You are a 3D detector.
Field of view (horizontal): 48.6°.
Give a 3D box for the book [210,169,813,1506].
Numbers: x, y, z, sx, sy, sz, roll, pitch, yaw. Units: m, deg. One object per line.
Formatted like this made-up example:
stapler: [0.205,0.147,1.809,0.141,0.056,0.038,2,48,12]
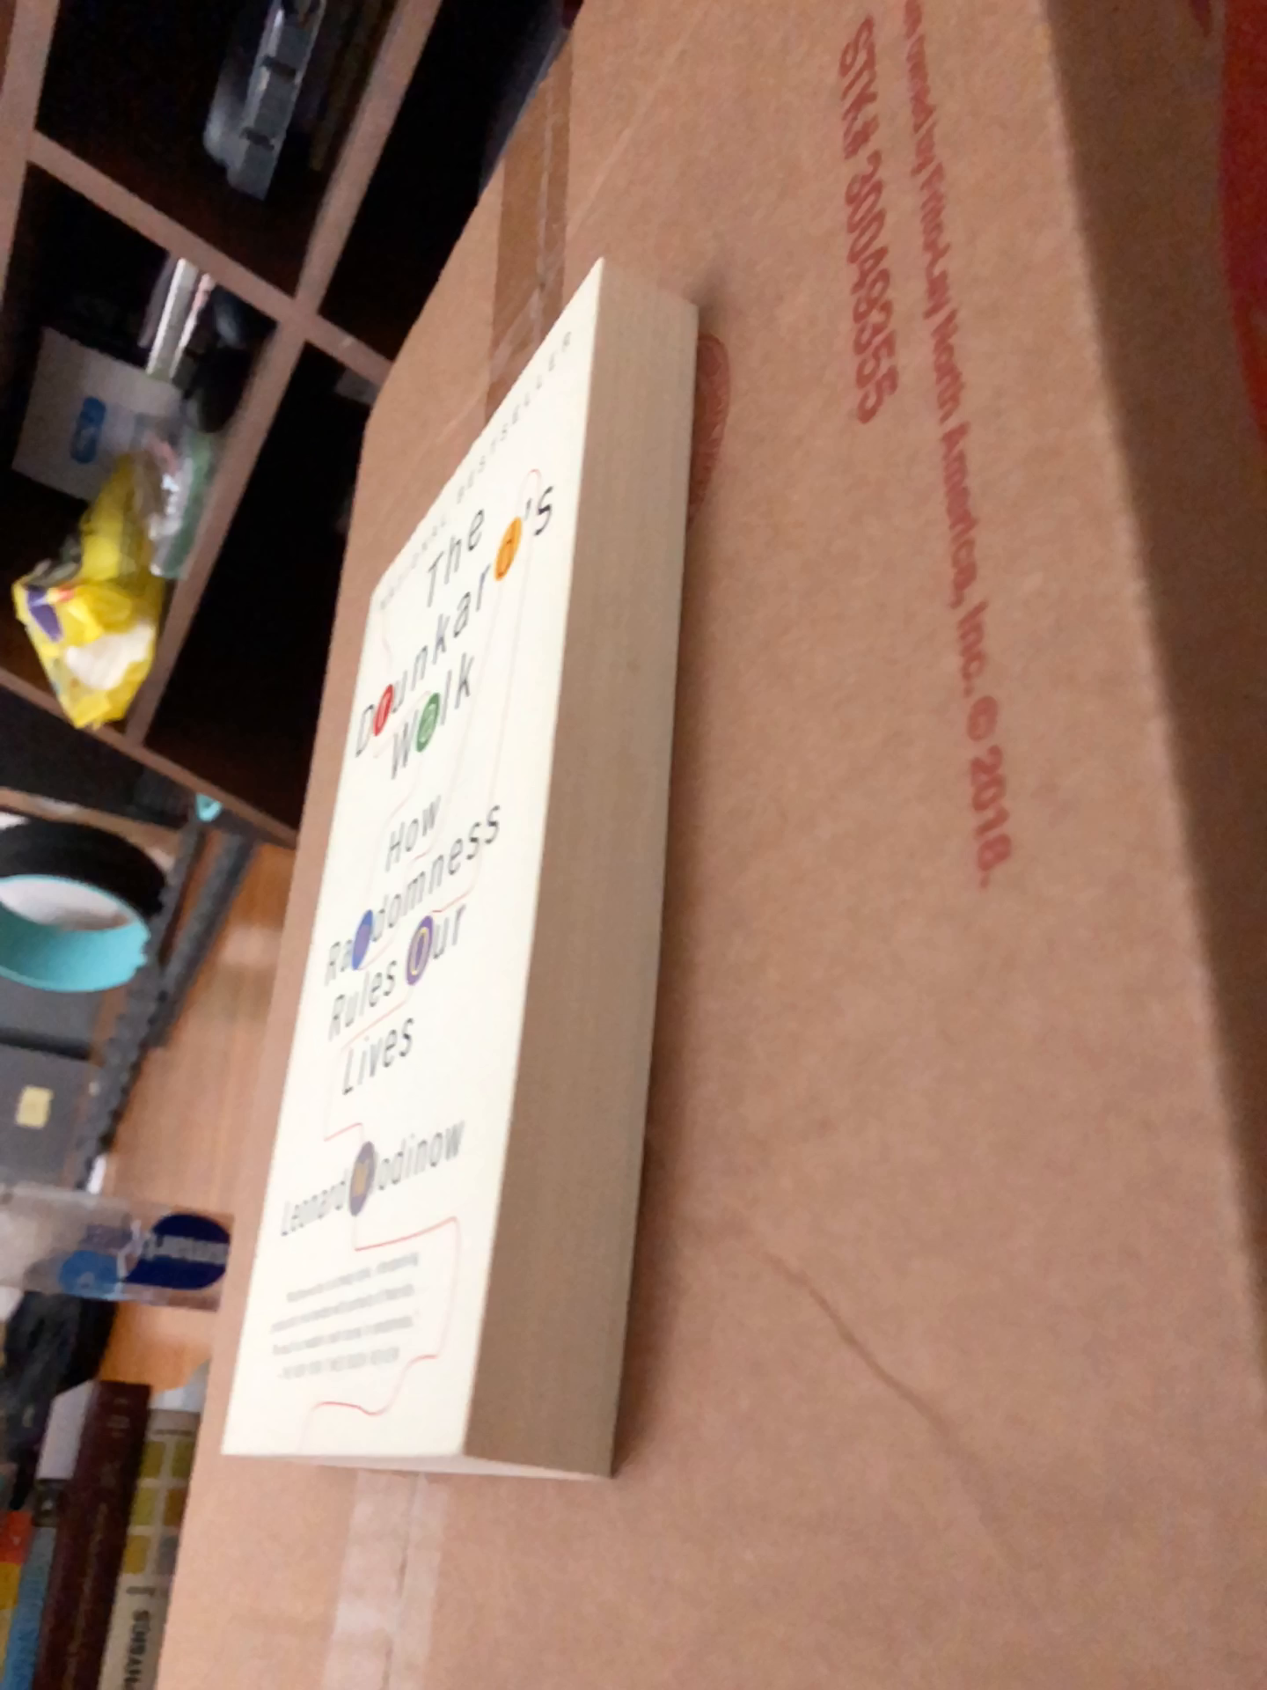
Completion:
book: [-0.024,0.005,0.266,0.140,0.040,0.210,-38,42,55]
